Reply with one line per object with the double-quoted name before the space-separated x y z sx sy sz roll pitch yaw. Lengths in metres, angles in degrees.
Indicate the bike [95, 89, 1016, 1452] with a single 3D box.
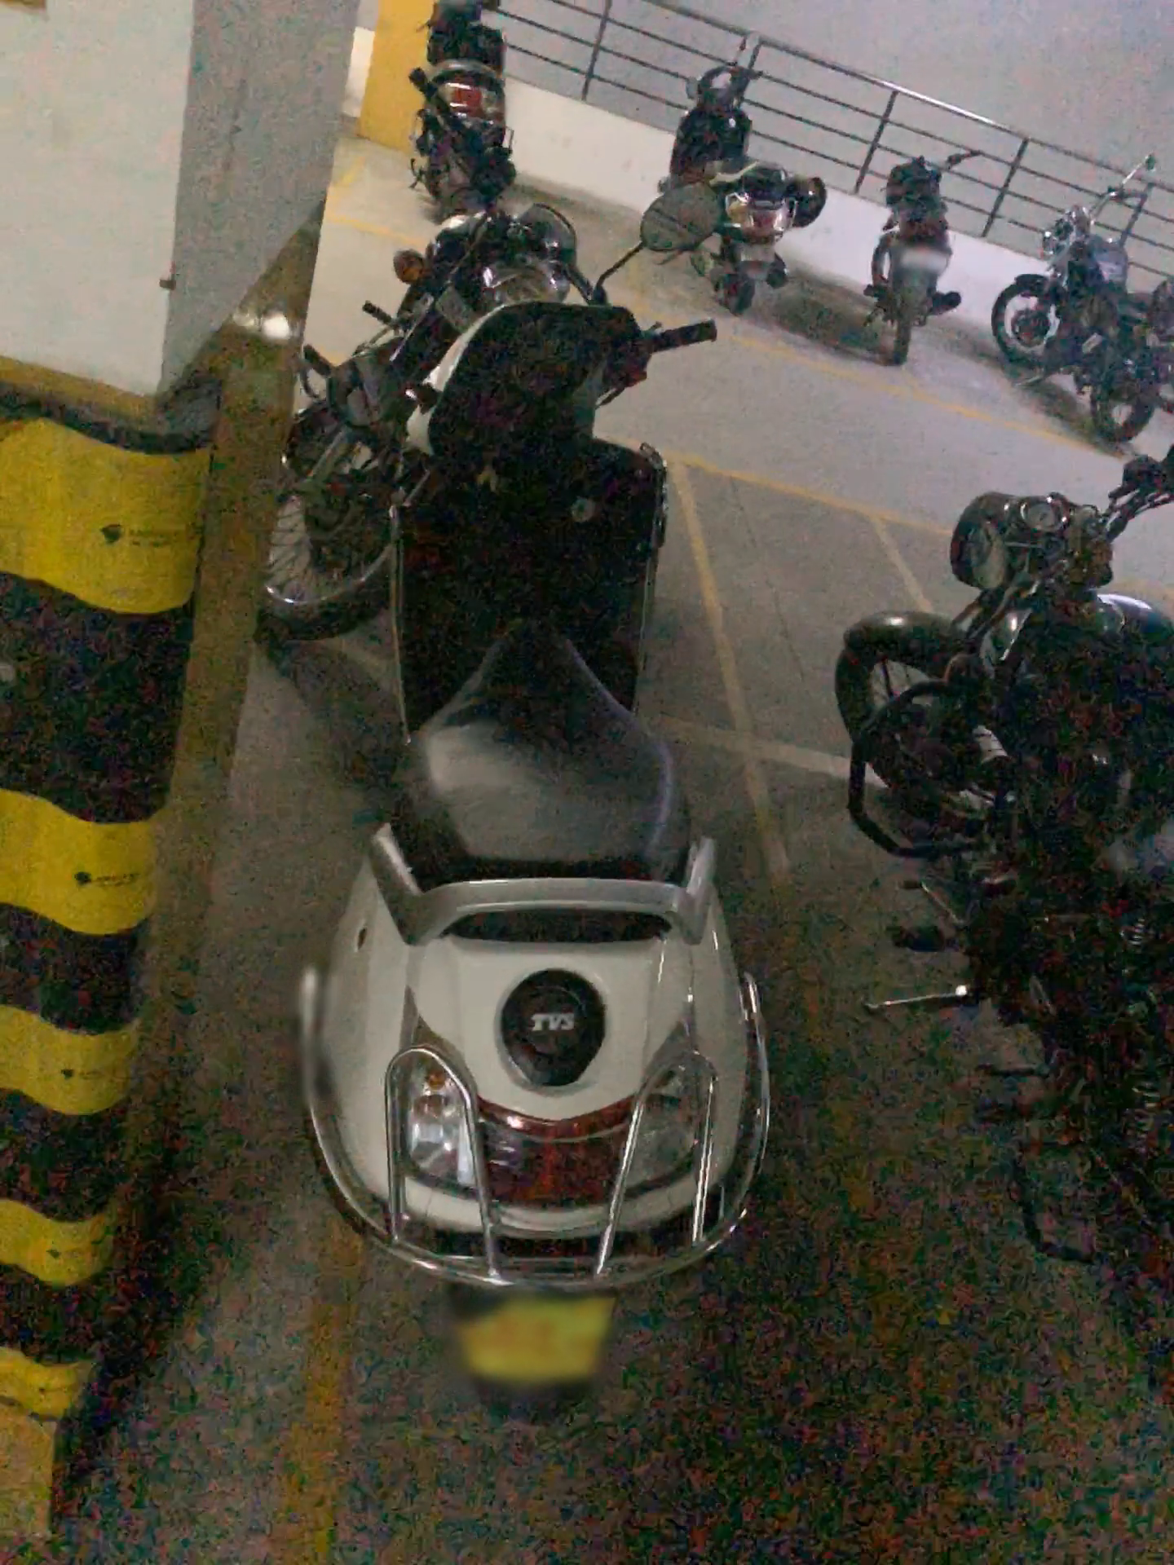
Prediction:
"bike" -0.167 -0.129 1.810 0.648 1.158 1.538 12 37 -13
